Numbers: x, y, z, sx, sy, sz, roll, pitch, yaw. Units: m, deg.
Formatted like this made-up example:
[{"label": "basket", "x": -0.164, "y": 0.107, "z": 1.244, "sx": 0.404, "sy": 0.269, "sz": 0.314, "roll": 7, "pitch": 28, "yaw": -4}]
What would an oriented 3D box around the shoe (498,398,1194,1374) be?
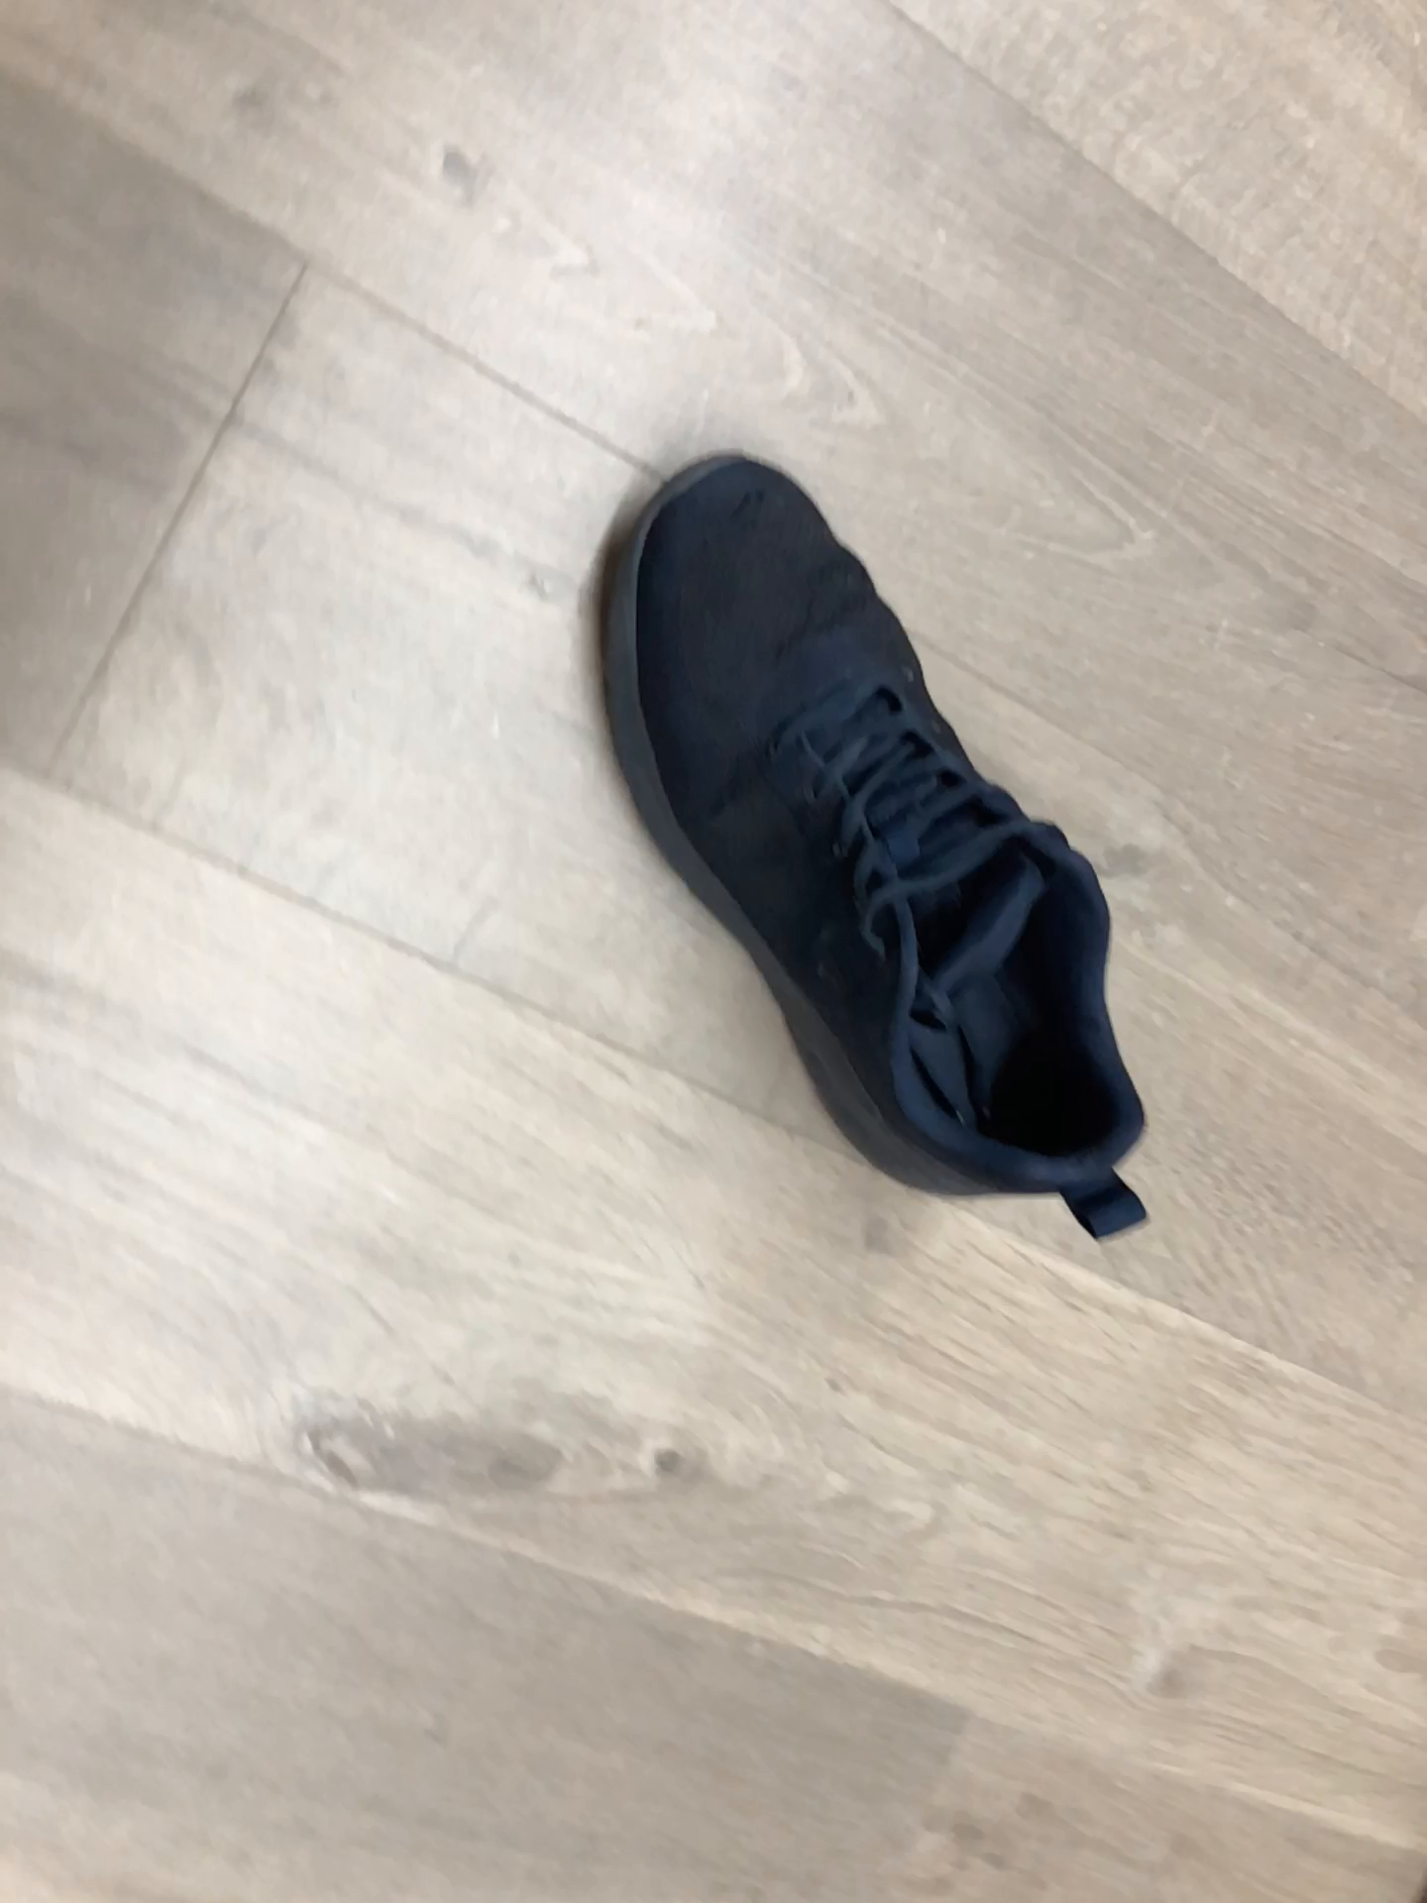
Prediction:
[{"label": "shoe", "x": 0.045, "y": -0.019, "z": 0.538, "sx": 0.100, "sy": 0.110, "sz": 0.290, "roll": -28, "pitch": 105, "yaw": -13}]
